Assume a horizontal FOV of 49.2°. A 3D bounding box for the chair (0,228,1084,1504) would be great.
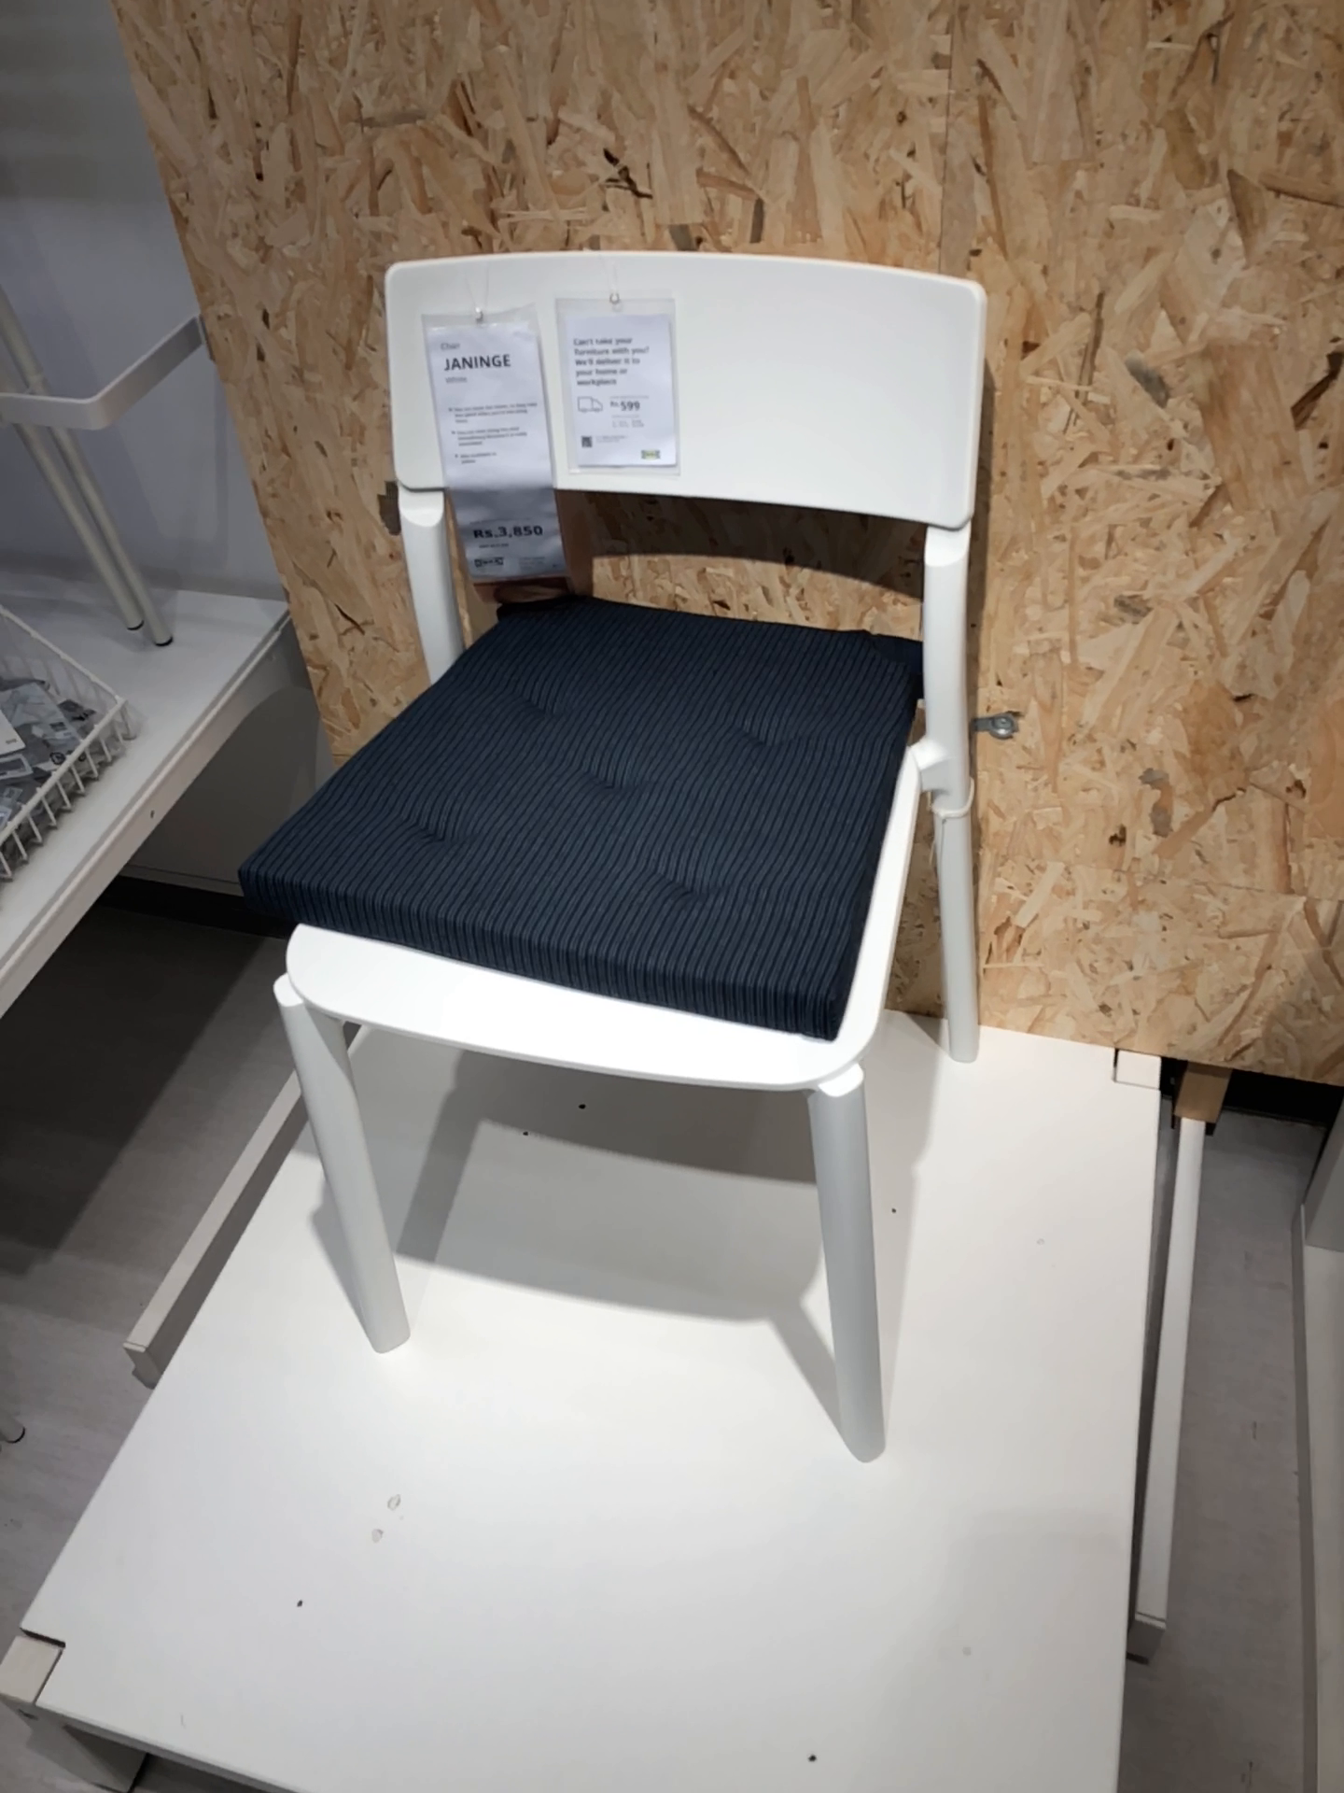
[{"bbox_3d":[-0.028,-0.014,1.012,0.490,0.686,0.463,8,45,14],"label":"chair"}]
